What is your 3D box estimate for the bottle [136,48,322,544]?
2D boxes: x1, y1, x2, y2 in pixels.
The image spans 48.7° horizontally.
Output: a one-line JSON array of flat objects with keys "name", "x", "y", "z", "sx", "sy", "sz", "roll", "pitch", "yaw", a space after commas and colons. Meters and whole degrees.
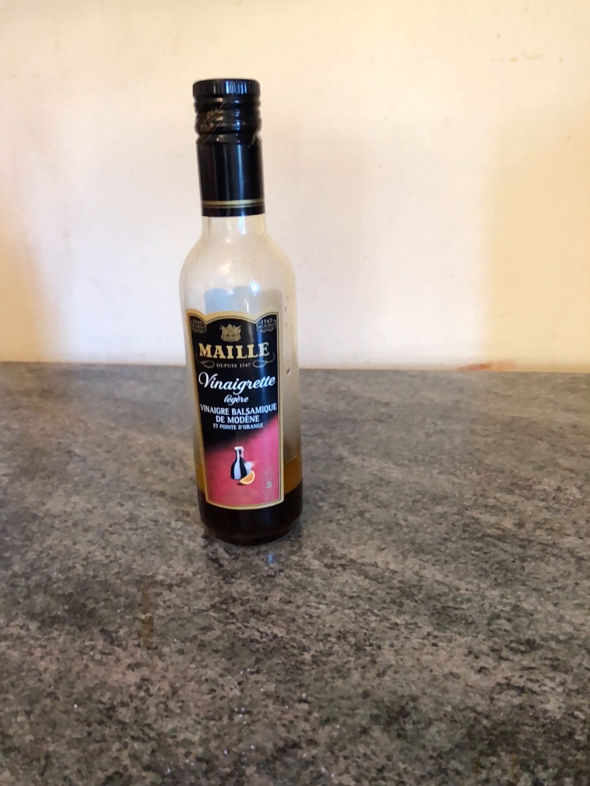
[{"name": "bottle", "x": -0.024, "y": -0.042, "z": 0.334, "sx": 0.070, "sy": 0.229, "sz": 0.070, "roll": -1, "pitch": 20, "yaw": 1}]
